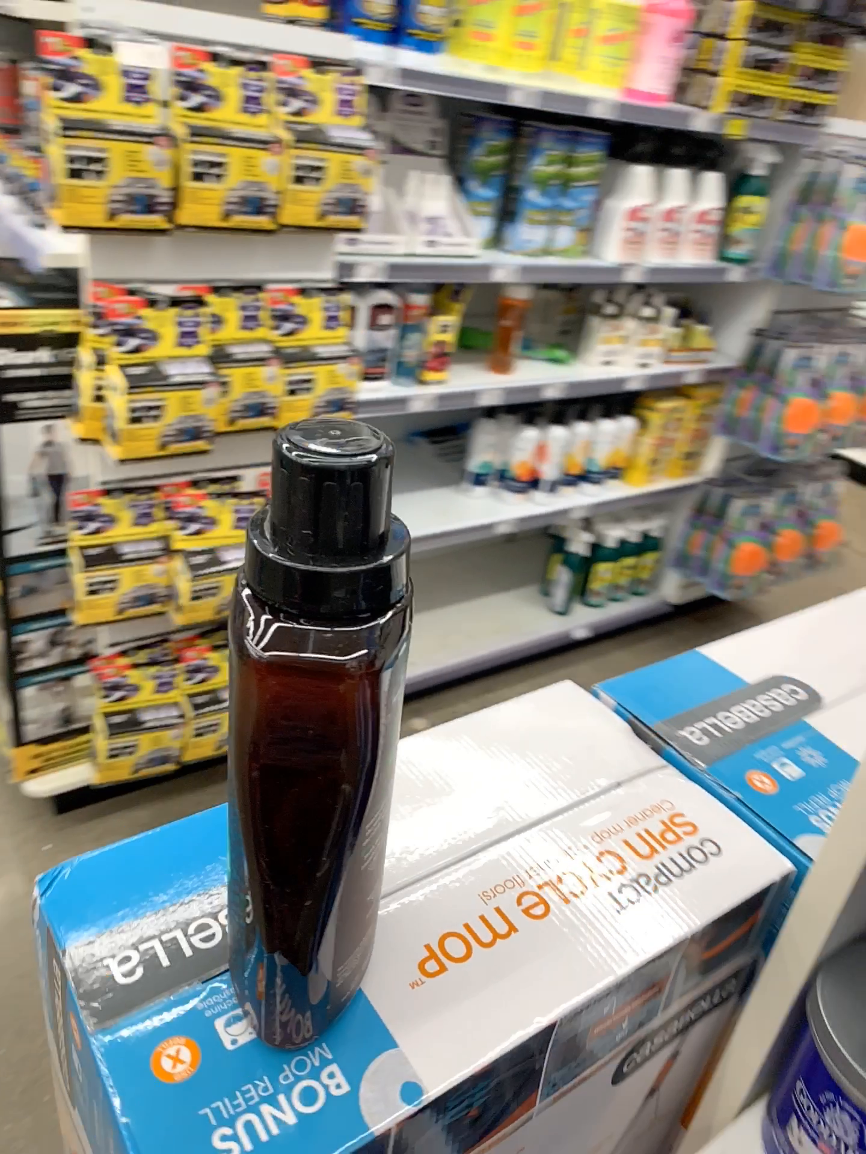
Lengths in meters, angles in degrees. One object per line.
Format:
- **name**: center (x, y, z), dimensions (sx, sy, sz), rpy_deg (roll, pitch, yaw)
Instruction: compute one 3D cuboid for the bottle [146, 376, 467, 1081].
- **bottle**: center (-0.042, 0.054, 0.301), dimensions (0.070, 0.209, 0.101), rpy_deg (9, 29, 1)
